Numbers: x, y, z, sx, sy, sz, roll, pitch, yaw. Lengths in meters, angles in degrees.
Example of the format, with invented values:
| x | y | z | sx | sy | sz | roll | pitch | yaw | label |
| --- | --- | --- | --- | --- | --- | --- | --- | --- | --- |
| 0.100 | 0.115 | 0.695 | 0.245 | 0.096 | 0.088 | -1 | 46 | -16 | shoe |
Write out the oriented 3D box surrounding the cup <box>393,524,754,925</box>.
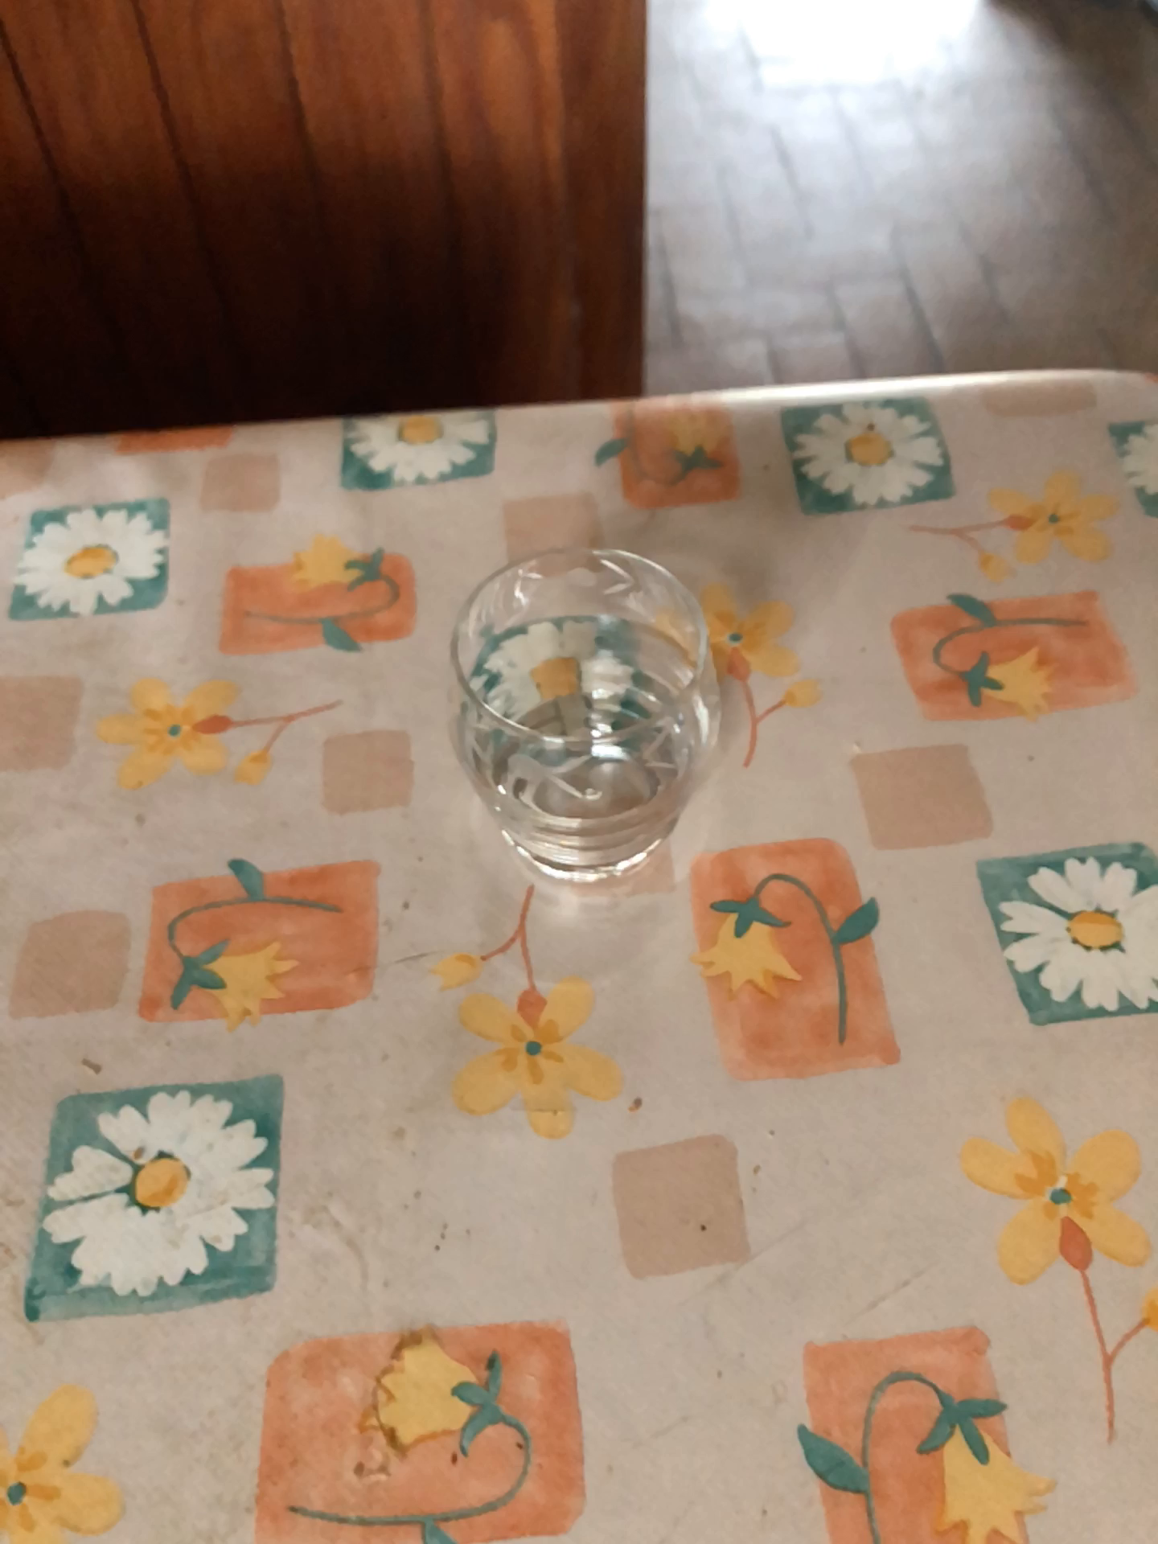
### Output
| x | y | z | sx | sy | sz | roll | pitch | yaw | label |
| --- | --- | --- | --- | --- | --- | --- | --- | --- | --- |
| 0.000 | -0.009 | 0.253 | 0.060 | 0.050 | 0.060 | -1 | 53 | 1 | cup |
